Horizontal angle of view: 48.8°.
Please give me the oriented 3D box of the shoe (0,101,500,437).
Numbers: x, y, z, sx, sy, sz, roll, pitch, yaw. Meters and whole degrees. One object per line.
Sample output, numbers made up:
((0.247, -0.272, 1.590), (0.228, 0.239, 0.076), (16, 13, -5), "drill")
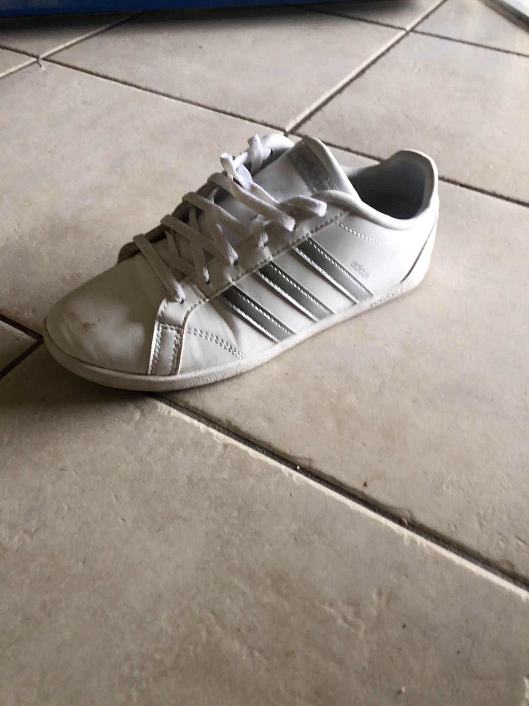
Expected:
((-0.004, -0.062, 0.358), (0.271, 0.099, 0.090), (-21, 51, -20), "shoe")
